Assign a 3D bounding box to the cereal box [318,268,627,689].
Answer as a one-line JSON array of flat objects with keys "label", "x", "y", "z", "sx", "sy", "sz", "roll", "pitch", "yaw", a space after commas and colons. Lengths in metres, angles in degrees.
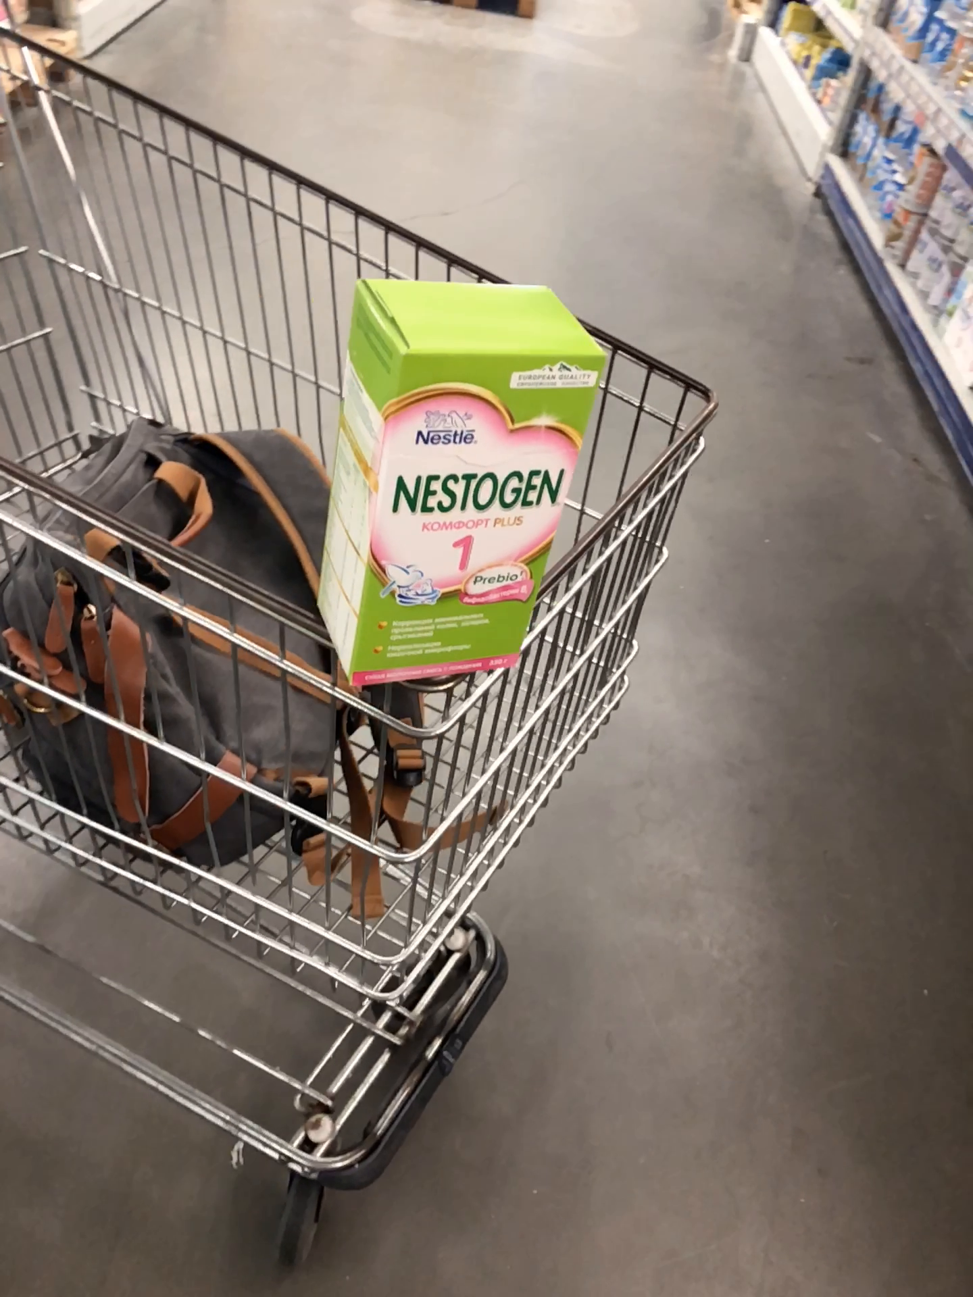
[{"label": "cereal box", "x": -0.016, "y": -0.079, "z": 0.525, "sx": 0.100, "sy": 0.189, "sz": 0.070, "roll": -7, "pitch": 44, "yaw": -24}]
